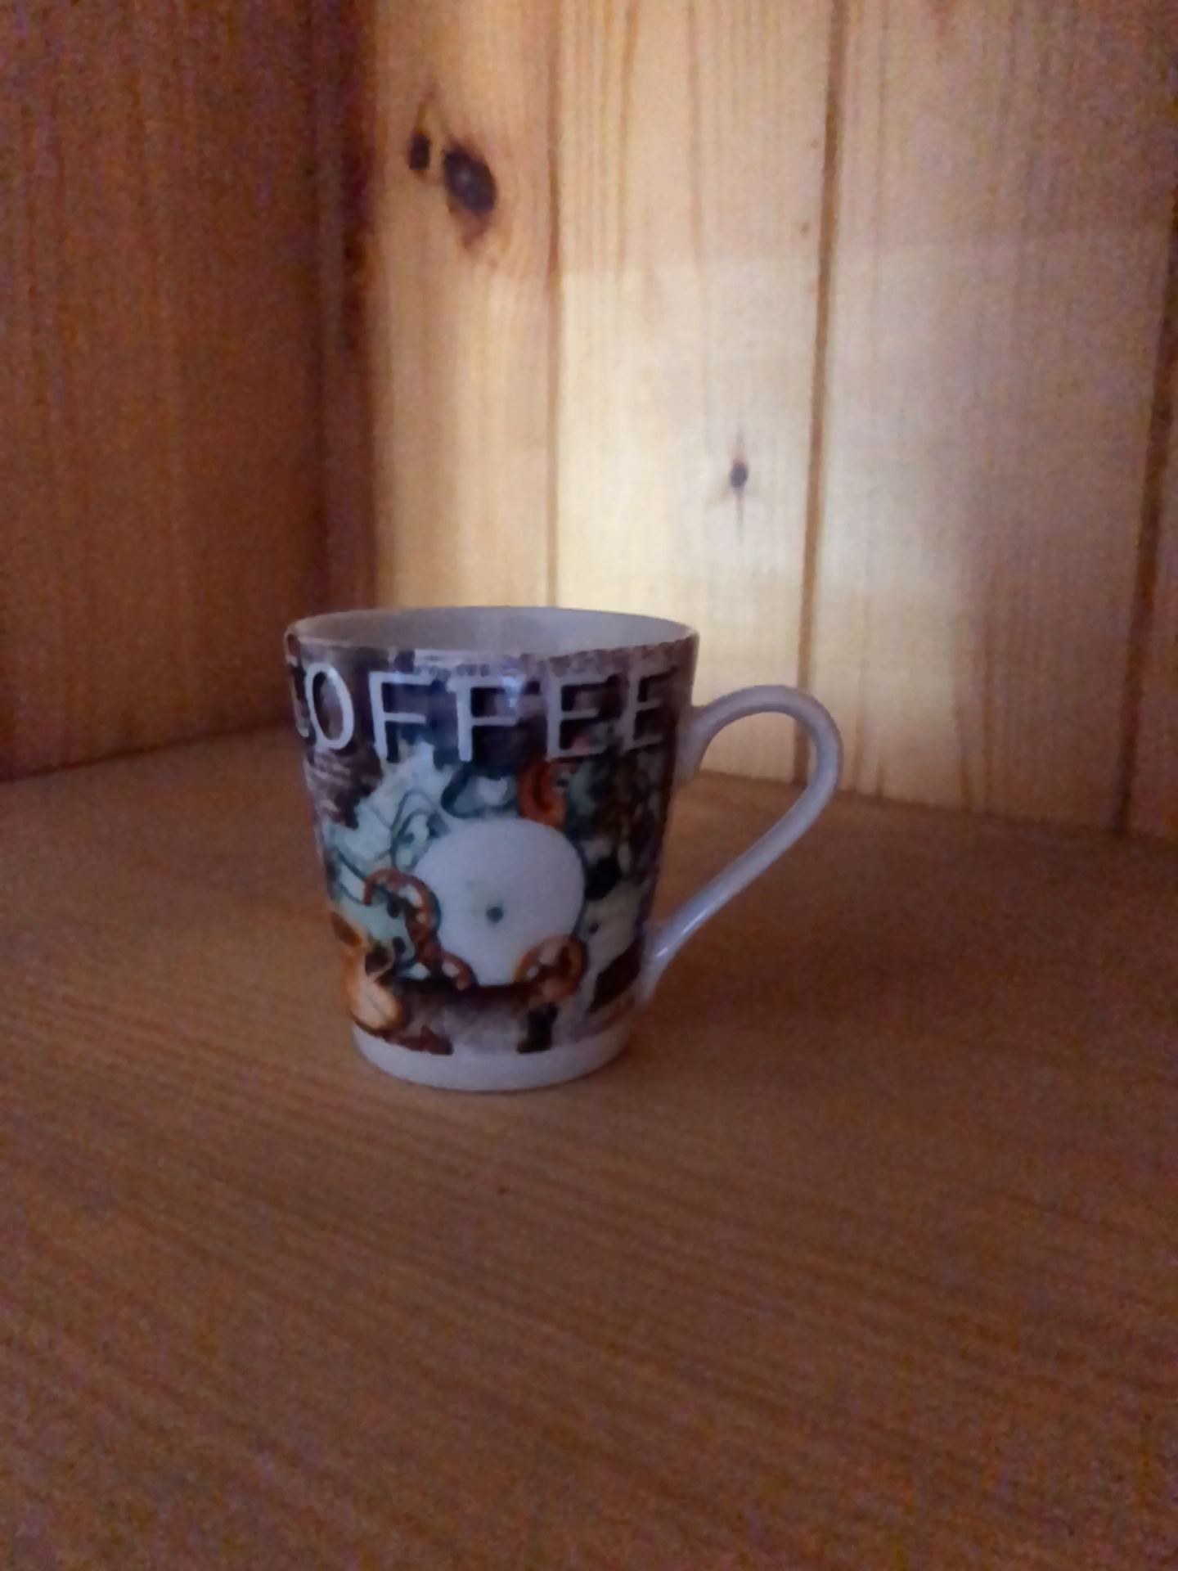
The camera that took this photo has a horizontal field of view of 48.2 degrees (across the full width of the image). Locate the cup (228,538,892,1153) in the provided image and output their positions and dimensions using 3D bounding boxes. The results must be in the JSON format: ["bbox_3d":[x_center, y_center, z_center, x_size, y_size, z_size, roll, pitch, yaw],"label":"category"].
[{"bbox_3d":[0.000,0.002,0.193,0.080,0.070,0.060,4,13,14],"label":"cup"}]
